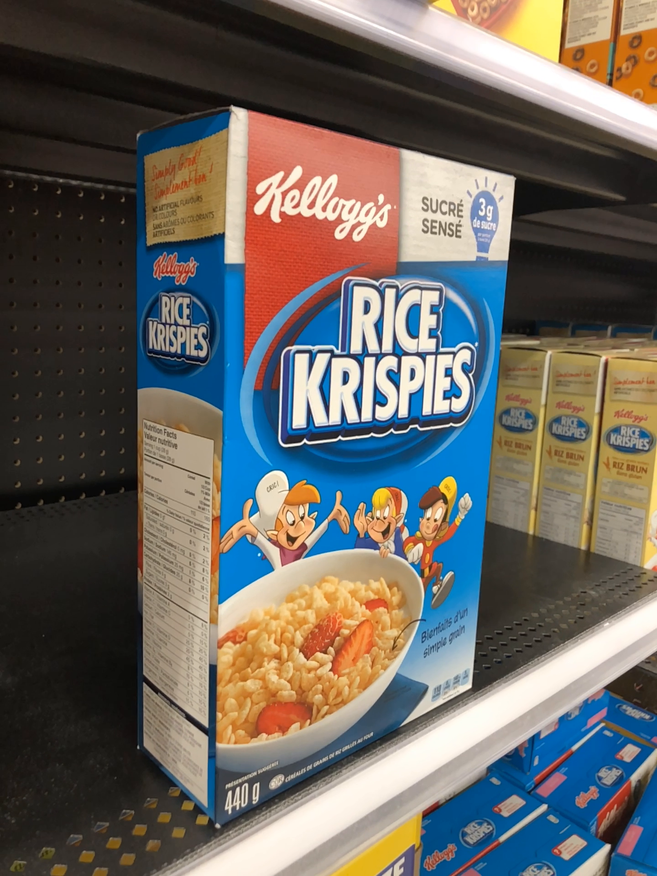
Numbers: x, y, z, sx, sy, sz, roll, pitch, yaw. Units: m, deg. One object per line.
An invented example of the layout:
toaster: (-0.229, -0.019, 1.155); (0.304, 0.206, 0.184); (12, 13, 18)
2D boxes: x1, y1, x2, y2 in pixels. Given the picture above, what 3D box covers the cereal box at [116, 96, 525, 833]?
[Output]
cereal box: (0.001, 0.007, 0.384); (0.200, 0.299, 0.080); (-7, 13, -42)
